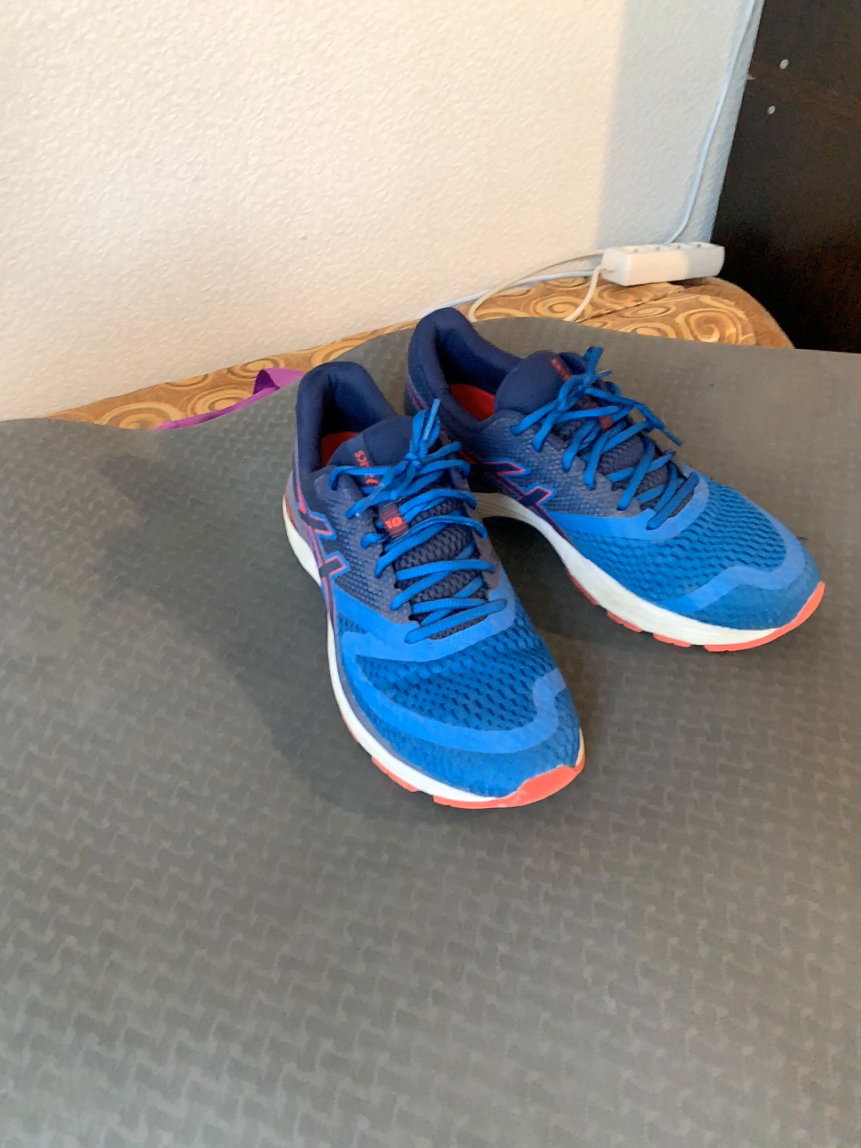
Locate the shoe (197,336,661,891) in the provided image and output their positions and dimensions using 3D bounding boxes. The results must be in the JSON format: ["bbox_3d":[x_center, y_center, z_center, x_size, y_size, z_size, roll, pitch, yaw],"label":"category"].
[{"bbox_3d":[-0.021,-0.002,0.495,0.120,0.109,0.301,-19,48,-18],"label":"shoe"}]

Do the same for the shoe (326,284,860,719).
[{"bbox_3d":[0.088,-0.061,0.546,0.301,0.109,0.120,32,53,28],"label":"shoe"}]
